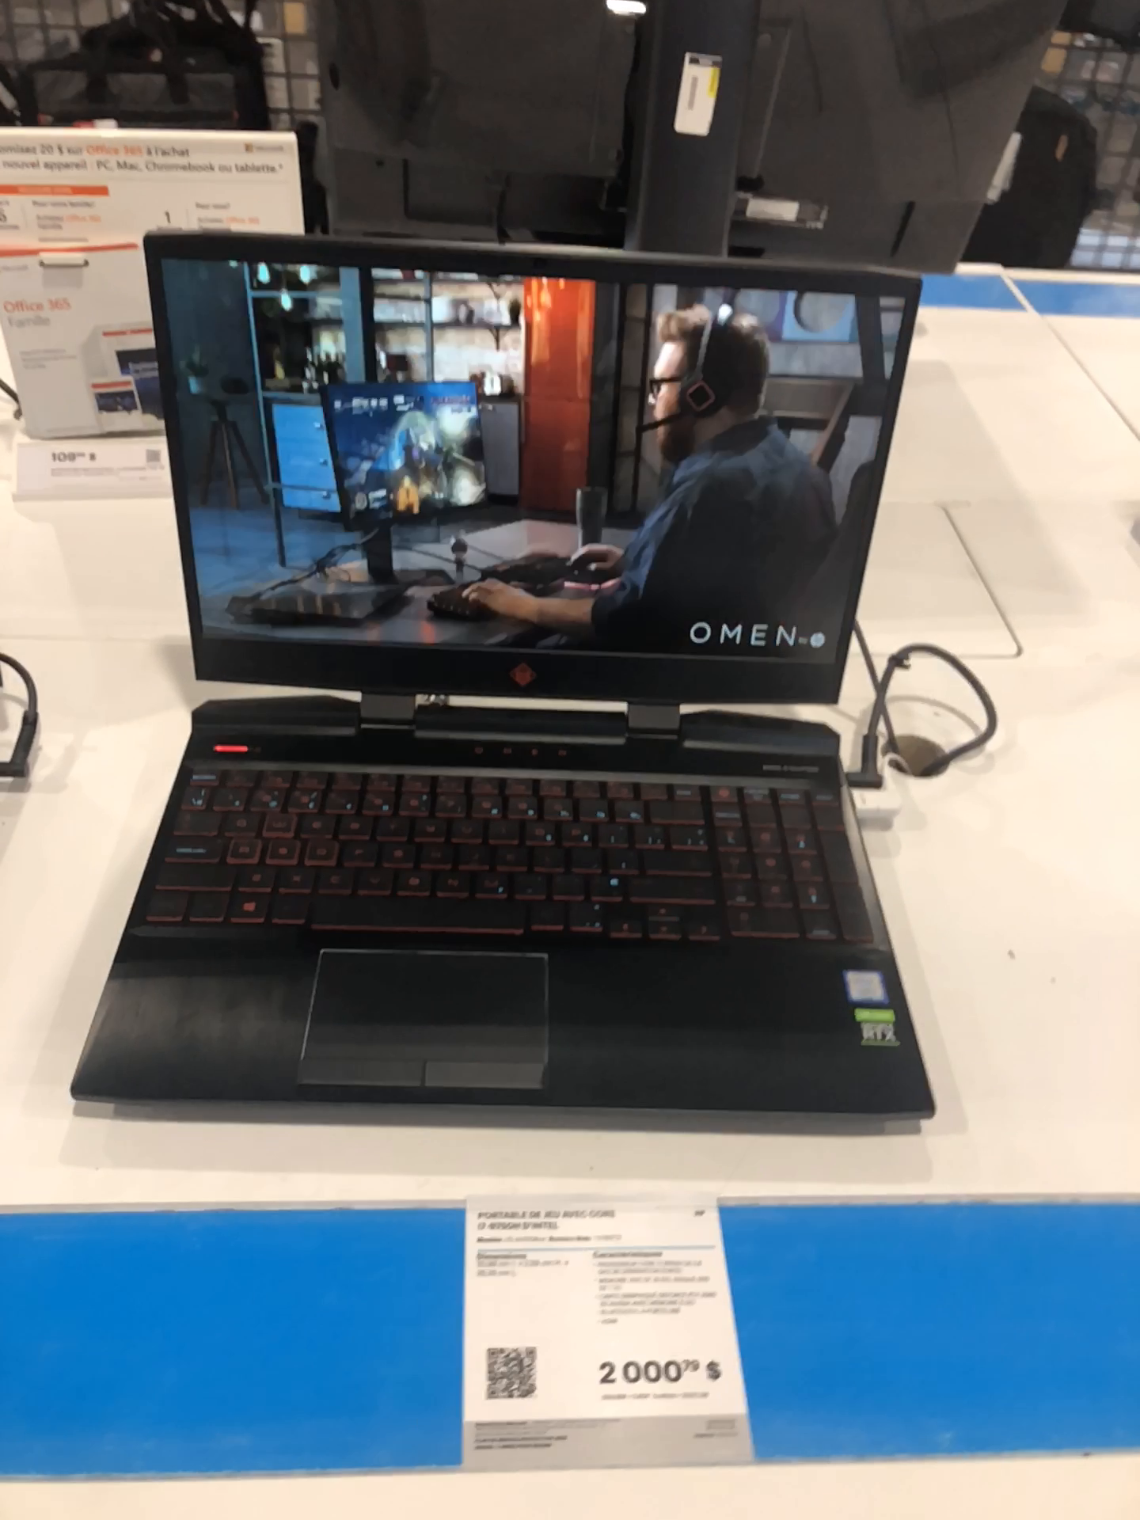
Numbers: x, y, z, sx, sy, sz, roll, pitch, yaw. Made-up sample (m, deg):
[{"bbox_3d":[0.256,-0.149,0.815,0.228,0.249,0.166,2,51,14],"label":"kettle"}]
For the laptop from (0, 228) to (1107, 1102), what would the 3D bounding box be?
[{"bbox_3d":[-0.021,-0.049,0.559,0.355,0.239,0.294,2,42,-3],"label":"laptop"}]
